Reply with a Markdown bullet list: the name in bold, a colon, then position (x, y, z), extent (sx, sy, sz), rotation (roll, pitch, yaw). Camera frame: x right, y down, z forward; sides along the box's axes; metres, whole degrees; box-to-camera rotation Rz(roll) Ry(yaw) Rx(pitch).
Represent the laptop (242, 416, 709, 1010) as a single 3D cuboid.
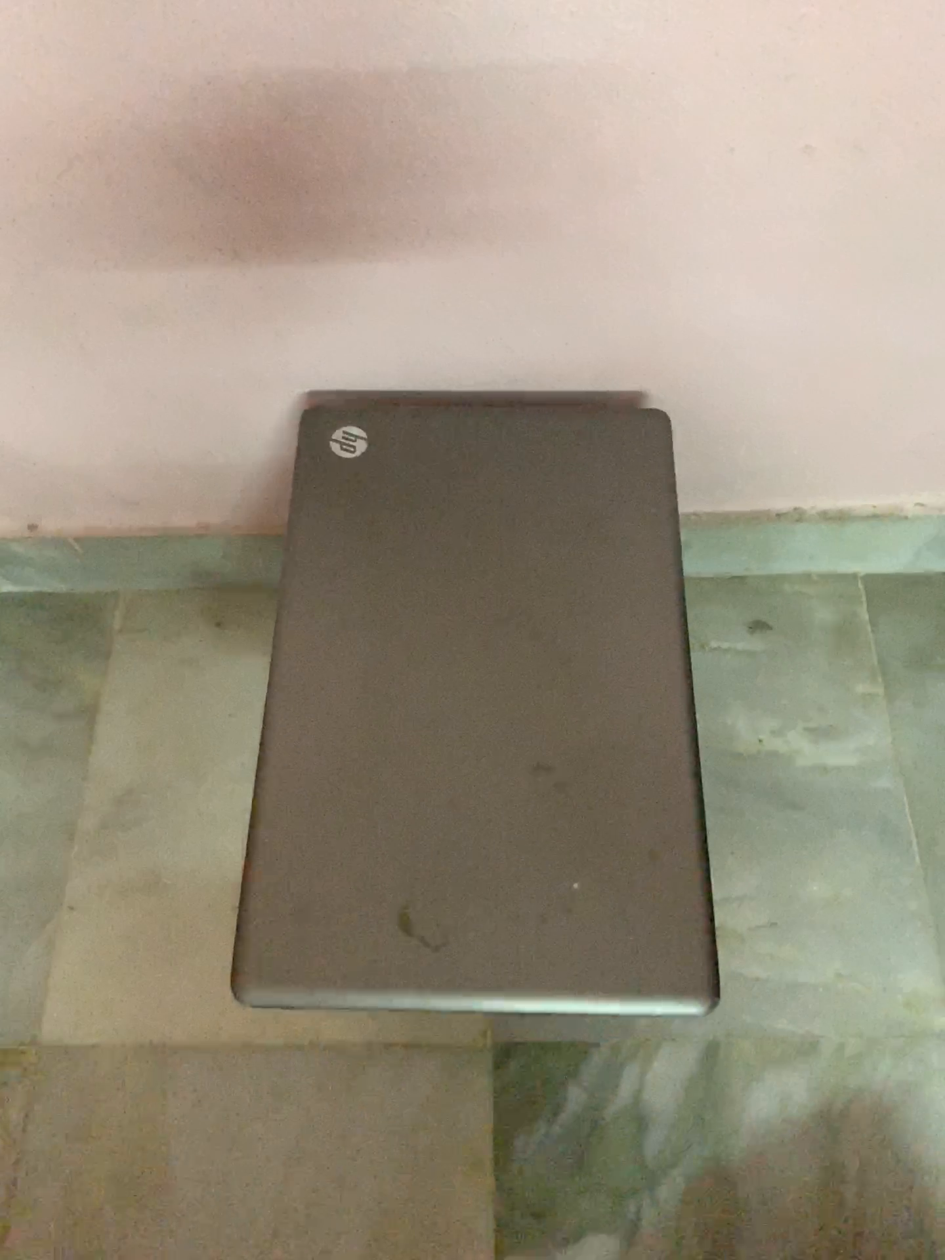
- **laptop**: position (0.005, 0.025, 0.583), extent (0.242, 0.003, 0.379), rotation (1, 64, 1)
